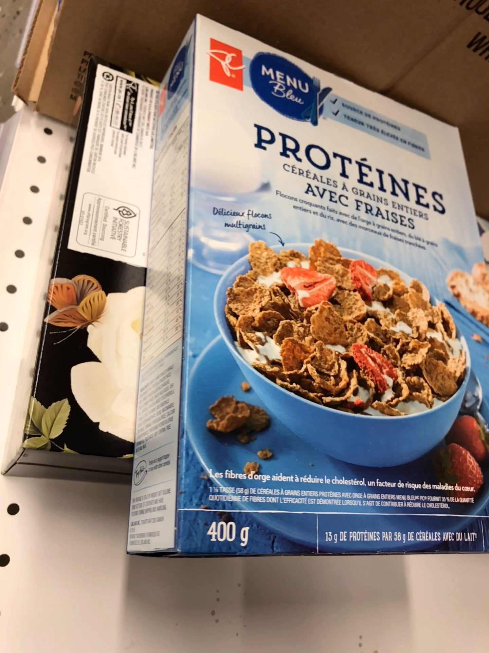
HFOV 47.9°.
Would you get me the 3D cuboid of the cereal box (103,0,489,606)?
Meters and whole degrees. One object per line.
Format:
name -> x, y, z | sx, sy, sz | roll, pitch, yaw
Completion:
cereal box -> 0.044, -0.014, 0.262 | 0.191, 0.050, 0.250 | 10, 65, -24
